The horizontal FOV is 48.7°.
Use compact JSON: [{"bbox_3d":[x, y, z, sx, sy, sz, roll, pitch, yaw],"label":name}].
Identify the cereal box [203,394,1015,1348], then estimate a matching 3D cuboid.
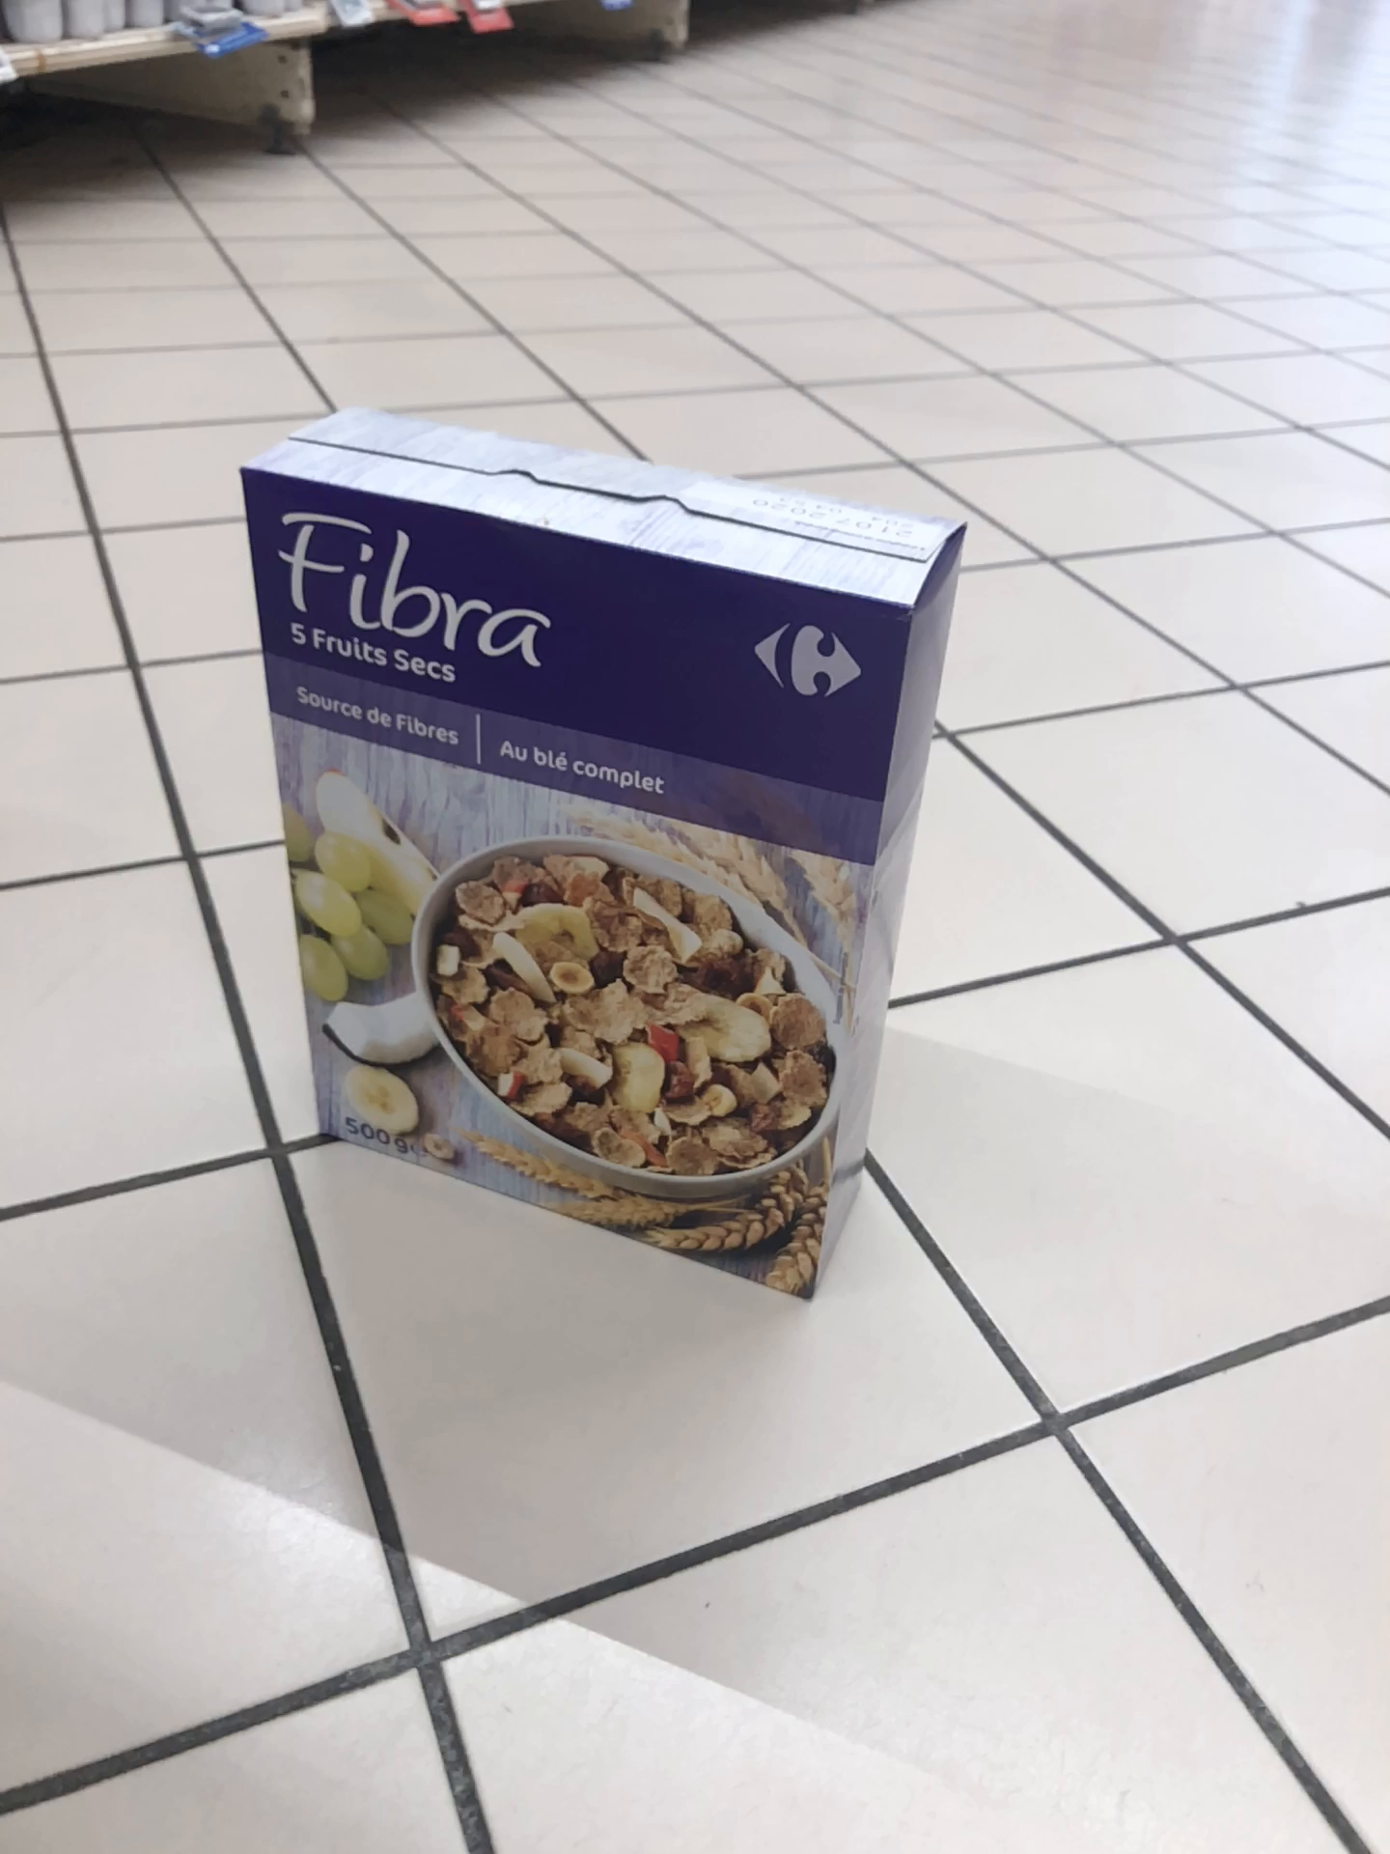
[{"bbox_3d":[-0.031,-0.014,0.499,0.210,0.258,0.081,16,36,15],"label":"cereal box"}]
